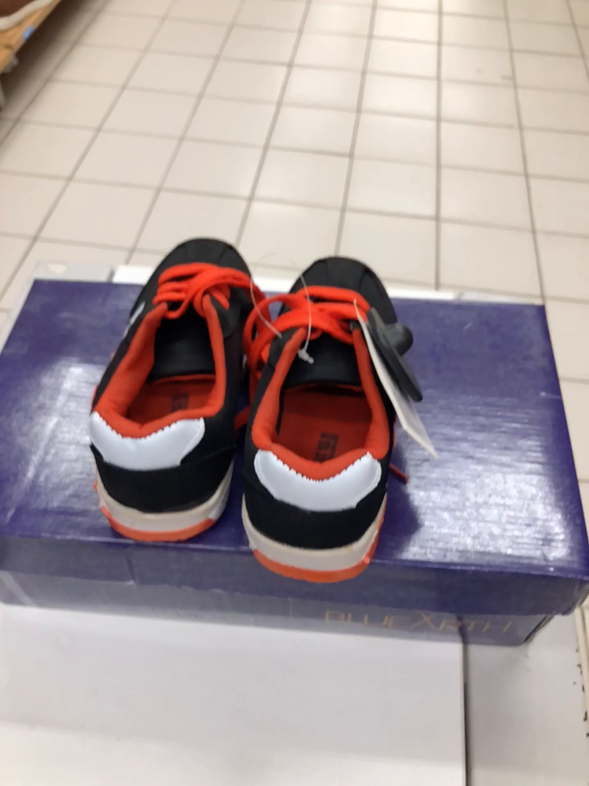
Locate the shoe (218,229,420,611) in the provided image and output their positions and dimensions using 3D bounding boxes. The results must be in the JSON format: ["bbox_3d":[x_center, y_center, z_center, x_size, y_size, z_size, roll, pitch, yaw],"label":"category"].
[{"bbox_3d":[0.016,0.010,0.352,0.080,0.099,0.171,5,52,2],"label":"shoe"}]

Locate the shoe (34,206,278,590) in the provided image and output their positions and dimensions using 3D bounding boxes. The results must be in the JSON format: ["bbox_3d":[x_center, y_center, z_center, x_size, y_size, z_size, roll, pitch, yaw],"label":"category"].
[{"bbox_3d":[-0.059,-0.003,0.362,0.080,0.099,0.181,5,52,2],"label":"shoe"}]
